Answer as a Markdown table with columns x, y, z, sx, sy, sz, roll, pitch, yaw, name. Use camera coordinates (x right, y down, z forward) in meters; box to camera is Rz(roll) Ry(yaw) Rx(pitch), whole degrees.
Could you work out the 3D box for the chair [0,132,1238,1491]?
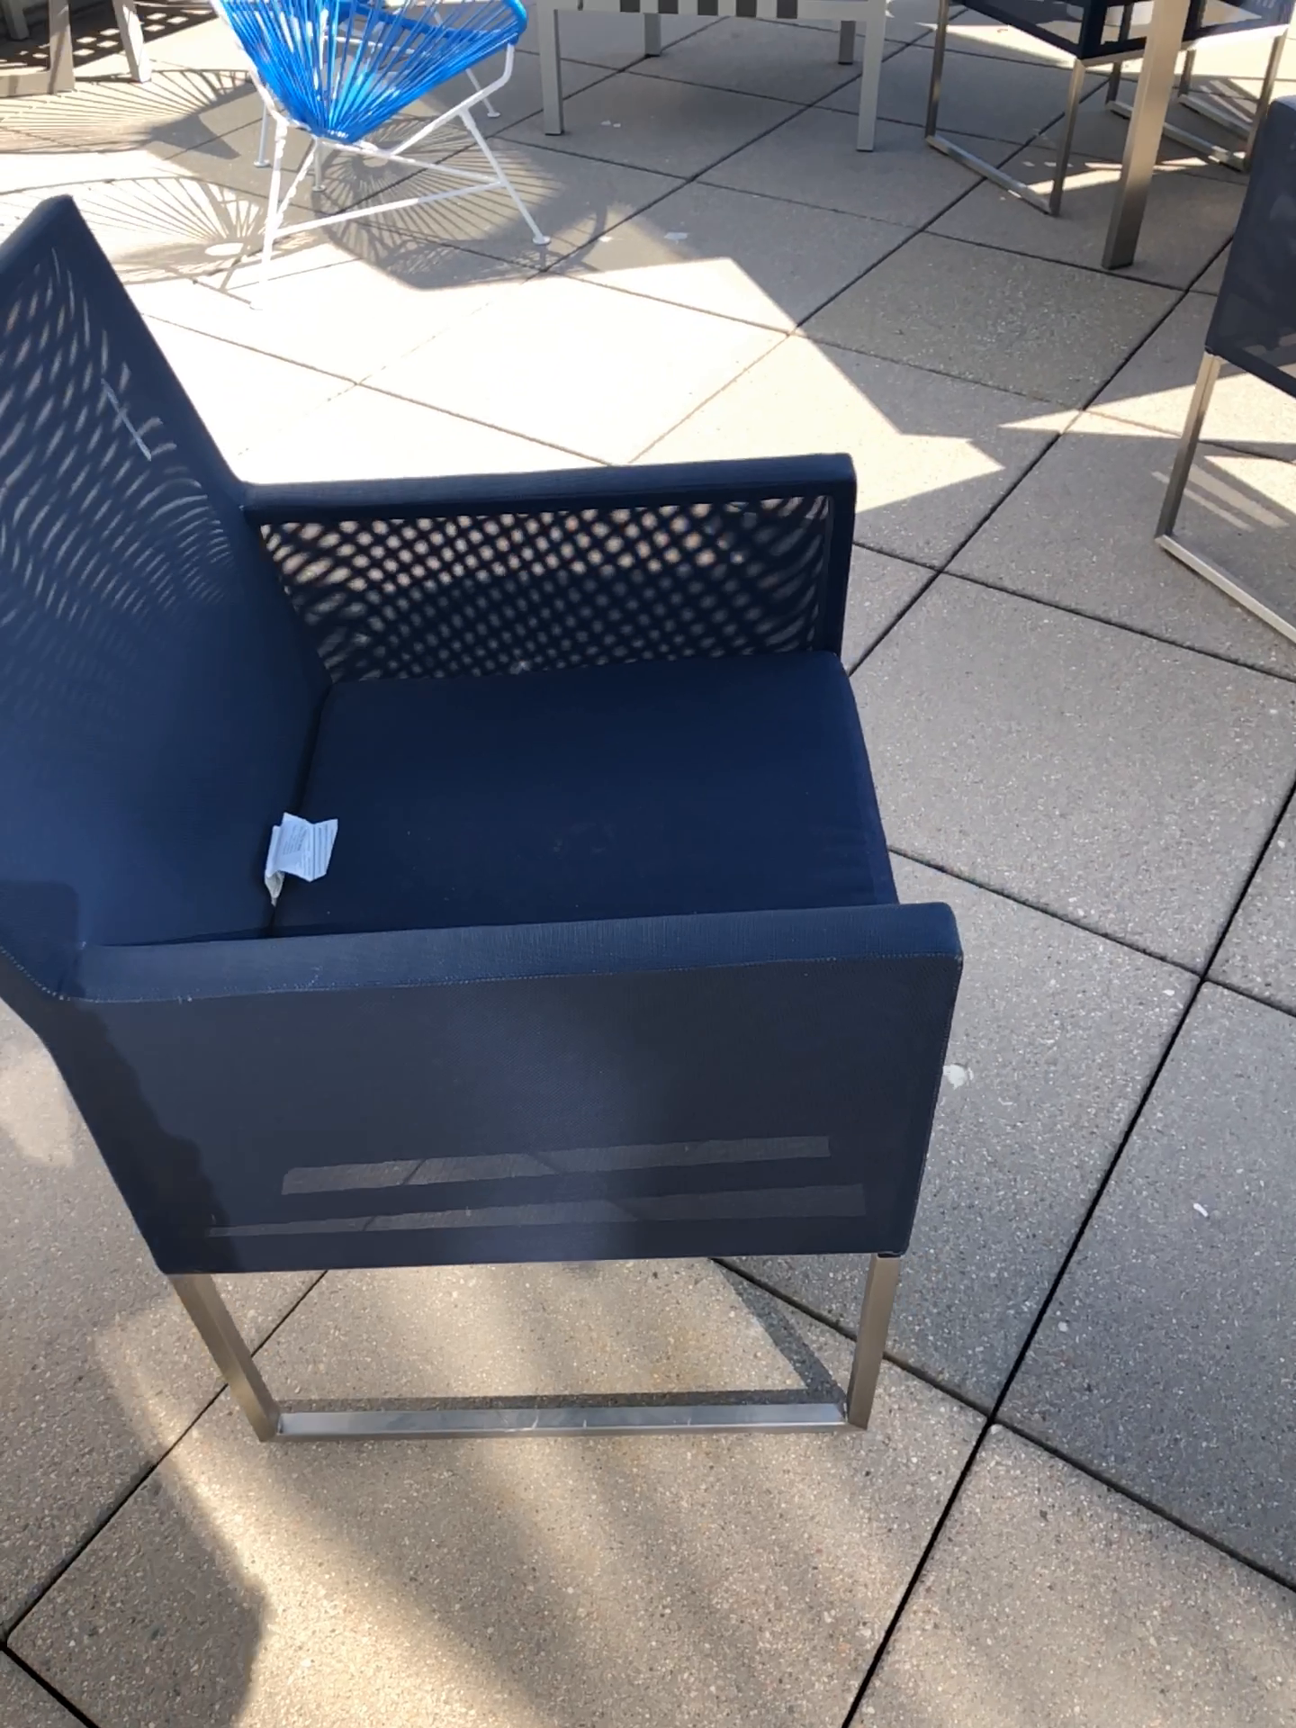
| x | y | z | sx | sy | sz | roll | pitch | yaw | name |
| --- | --- | --- | --- | --- | --- | --- | --- | --- | --- |
| -0.094 | -0.021 | 1.077 | 0.670 | 0.776 | 0.653 | -1 | 44 | 1 | chair |
